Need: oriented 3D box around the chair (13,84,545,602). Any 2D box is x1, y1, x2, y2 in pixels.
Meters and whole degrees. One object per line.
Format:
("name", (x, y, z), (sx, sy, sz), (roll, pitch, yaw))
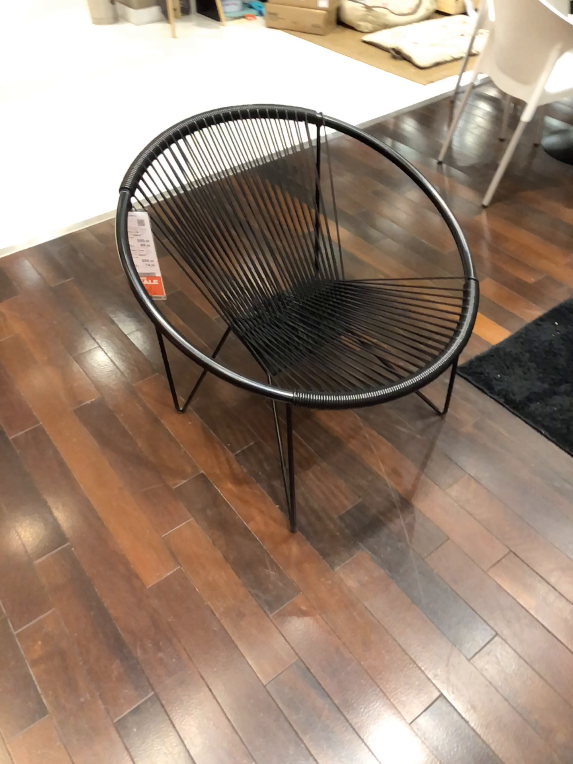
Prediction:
("chair", (-0.020, -0.150, 1.413), (0.703, 0.675, 0.732), (-32, 50, -29))
